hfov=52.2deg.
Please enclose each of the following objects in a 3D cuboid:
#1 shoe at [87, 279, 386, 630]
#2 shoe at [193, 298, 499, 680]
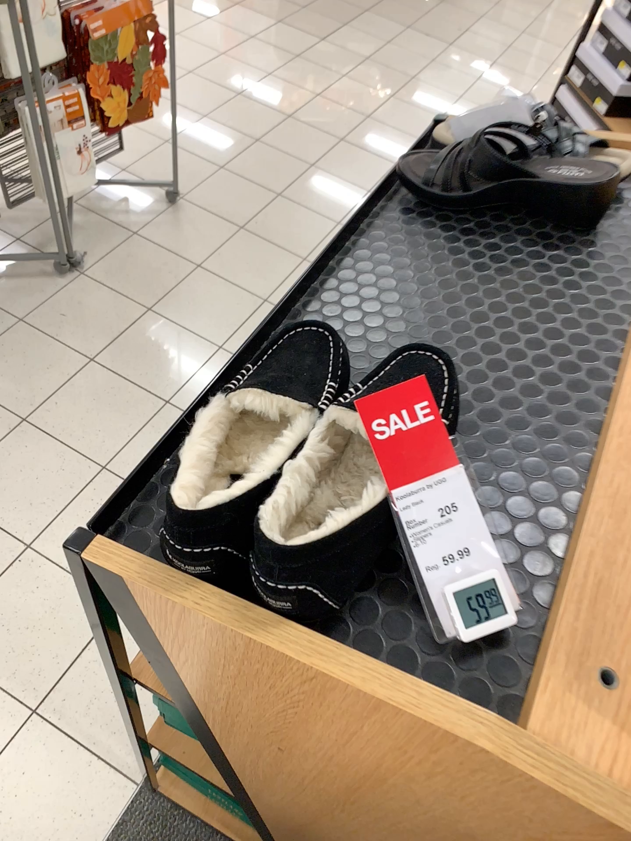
[{"bbox_3d":[-0.037,0.008,0.473,0.086,0.090,0.251,13,49,24],"label":"shoe"},{"bbox_3d":[0.038,0.029,0.441,0.086,0.090,0.251,17,49,27],"label":"shoe"}]
